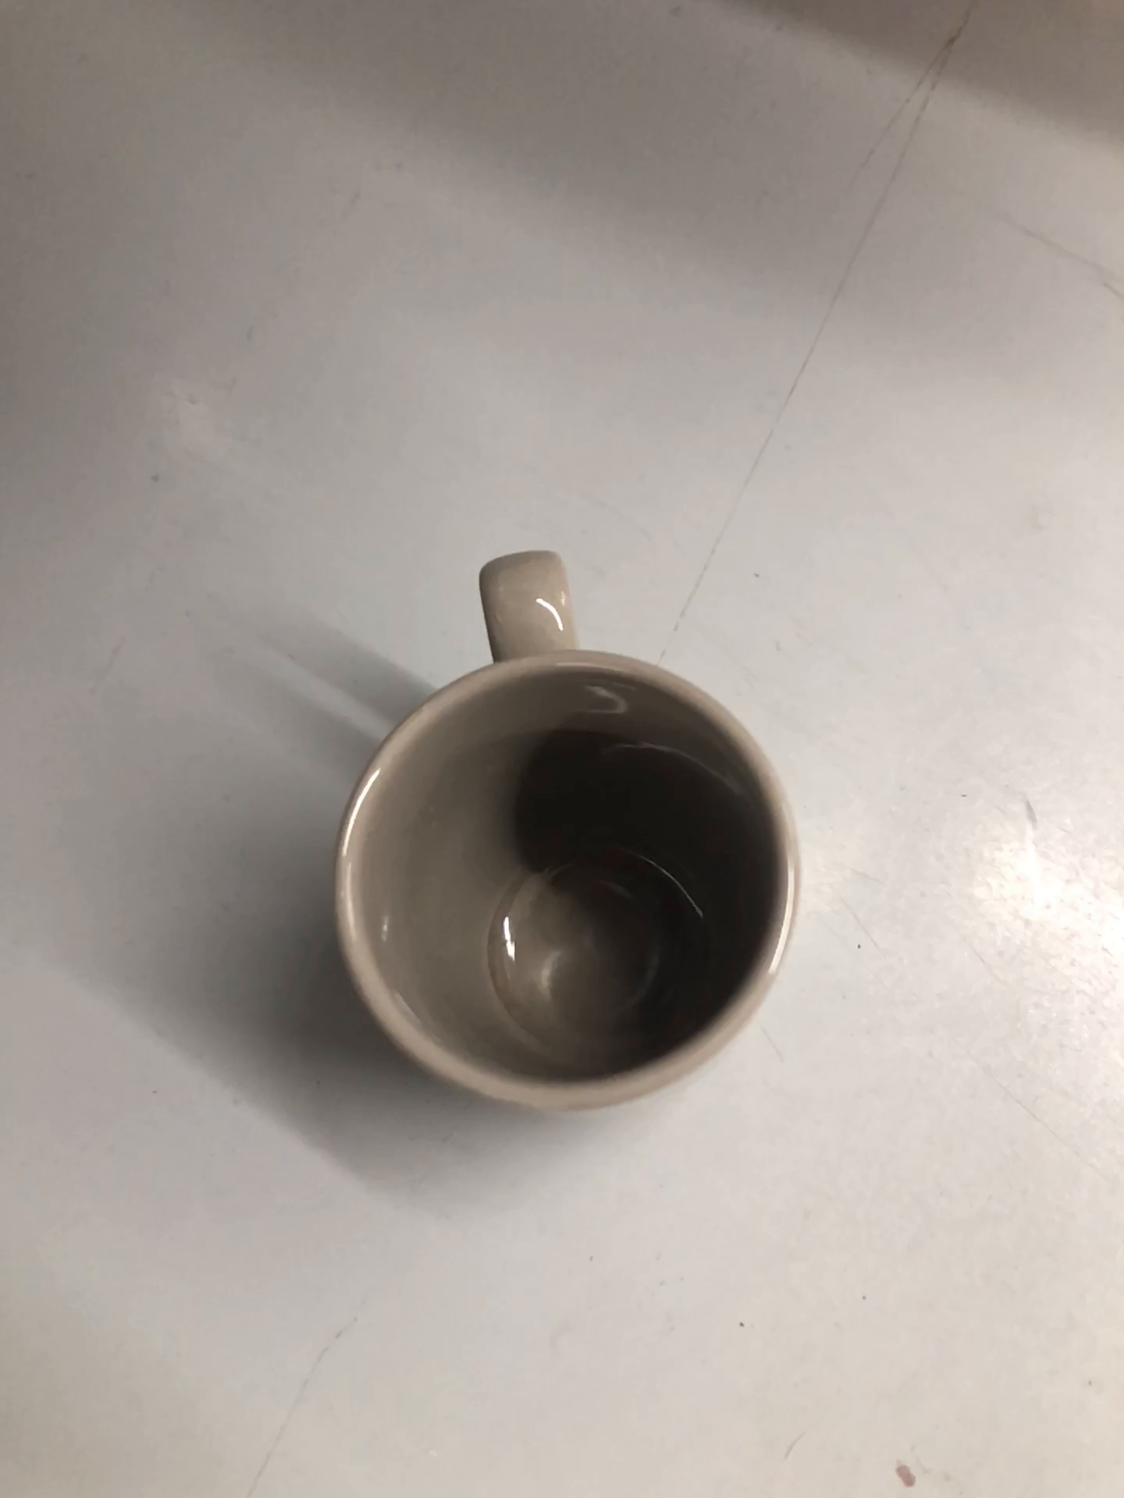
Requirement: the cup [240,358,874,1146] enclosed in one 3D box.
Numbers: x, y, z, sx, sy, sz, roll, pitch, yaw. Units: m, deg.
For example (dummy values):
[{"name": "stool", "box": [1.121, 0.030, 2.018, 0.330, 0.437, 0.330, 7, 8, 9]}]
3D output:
[{"name": "cup", "box": [-0.002, 0.005, 0.184, 0.064, 0.062, 0.091, -11, 72, 1]}]
